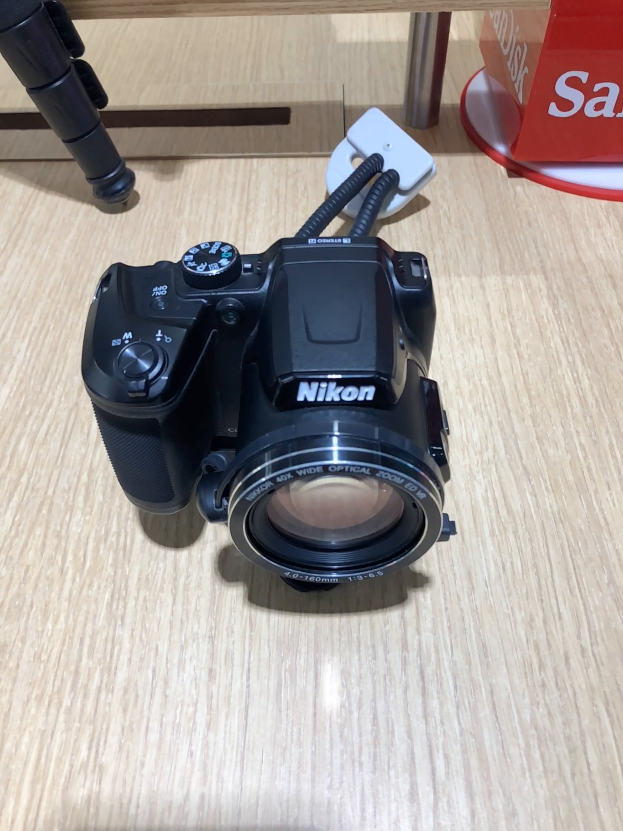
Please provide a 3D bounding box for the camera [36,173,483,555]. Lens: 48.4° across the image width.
[{"bbox_3d":[-0.012,-0.017,0.216,0.103,0.070,0.093,-2,51,0],"label":"camera"}]
